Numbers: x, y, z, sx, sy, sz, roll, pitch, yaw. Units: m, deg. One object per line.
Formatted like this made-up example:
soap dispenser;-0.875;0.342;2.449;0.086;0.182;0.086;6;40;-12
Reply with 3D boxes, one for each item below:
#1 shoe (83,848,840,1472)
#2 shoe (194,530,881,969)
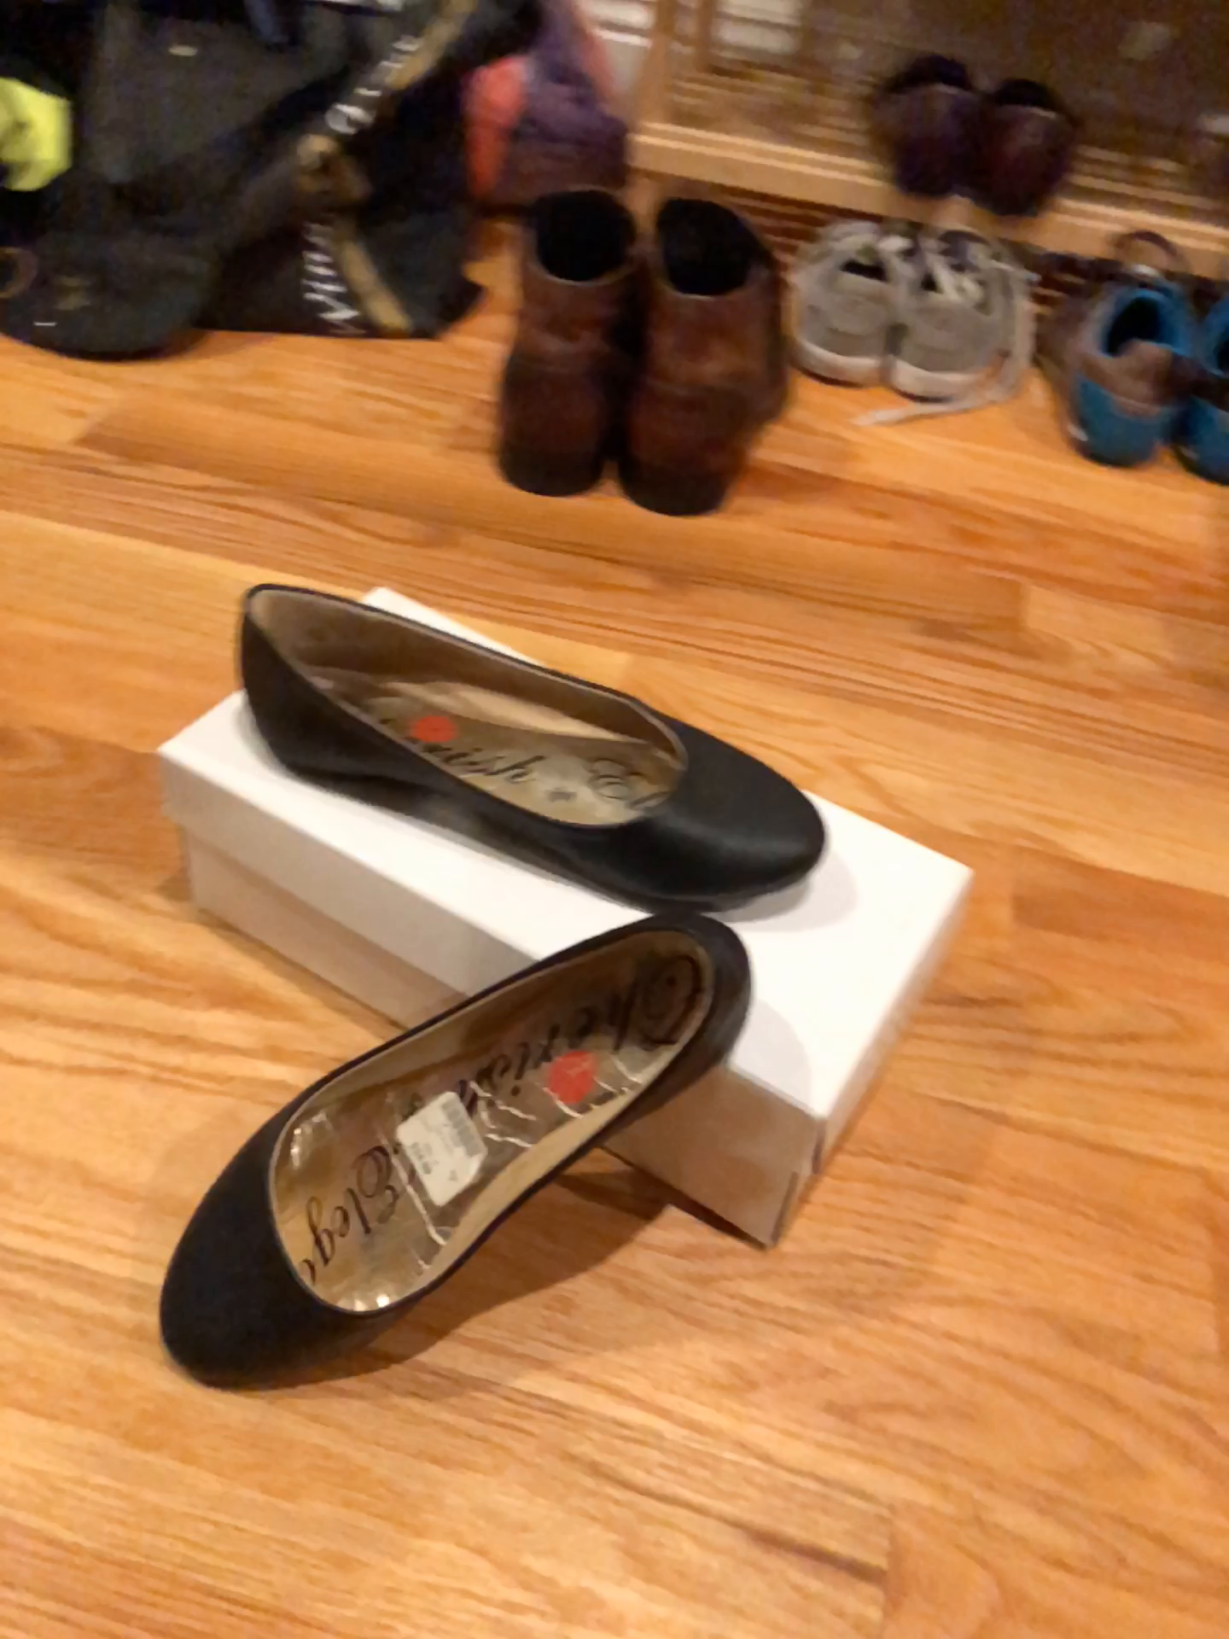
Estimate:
shoe;-0.051;0.113;0.447;0.239;0.060;0.076;-35;68;8
shoe;-0.030;-0.031;0.511;0.239;0.060;0.076;20;45;11
